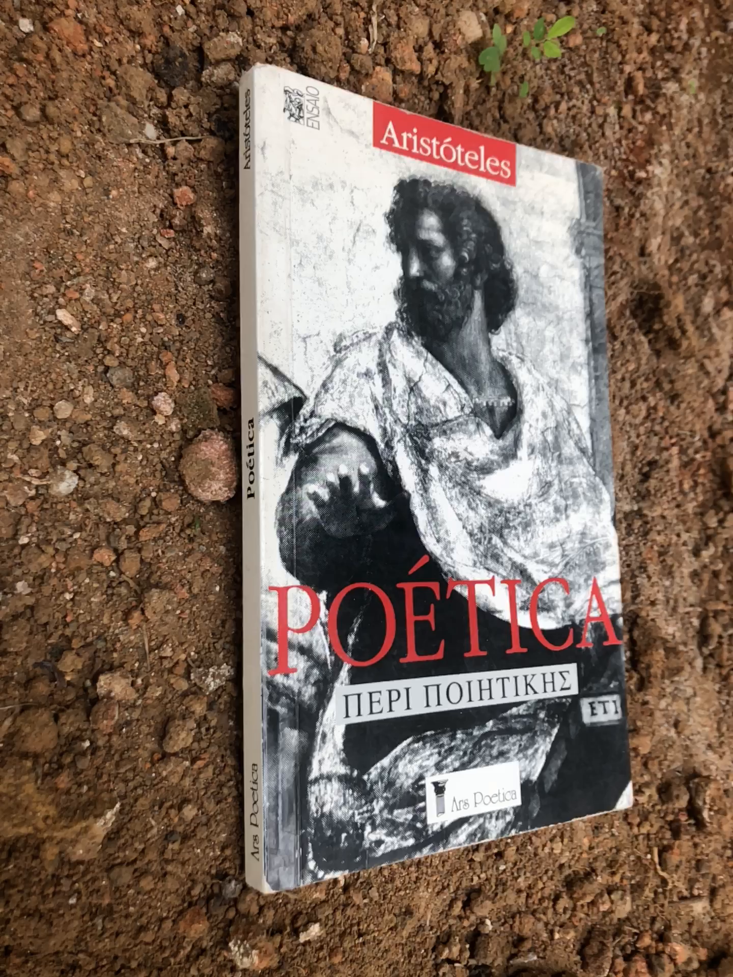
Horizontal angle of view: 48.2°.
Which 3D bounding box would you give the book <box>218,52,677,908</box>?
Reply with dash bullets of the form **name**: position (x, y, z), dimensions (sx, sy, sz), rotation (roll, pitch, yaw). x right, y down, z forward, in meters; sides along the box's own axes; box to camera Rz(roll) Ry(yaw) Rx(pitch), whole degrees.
- **book**: position (0.026, -0.004, 0.218), dimensions (0.131, 0.015, 0.189), rotation (2, 84, -28)
